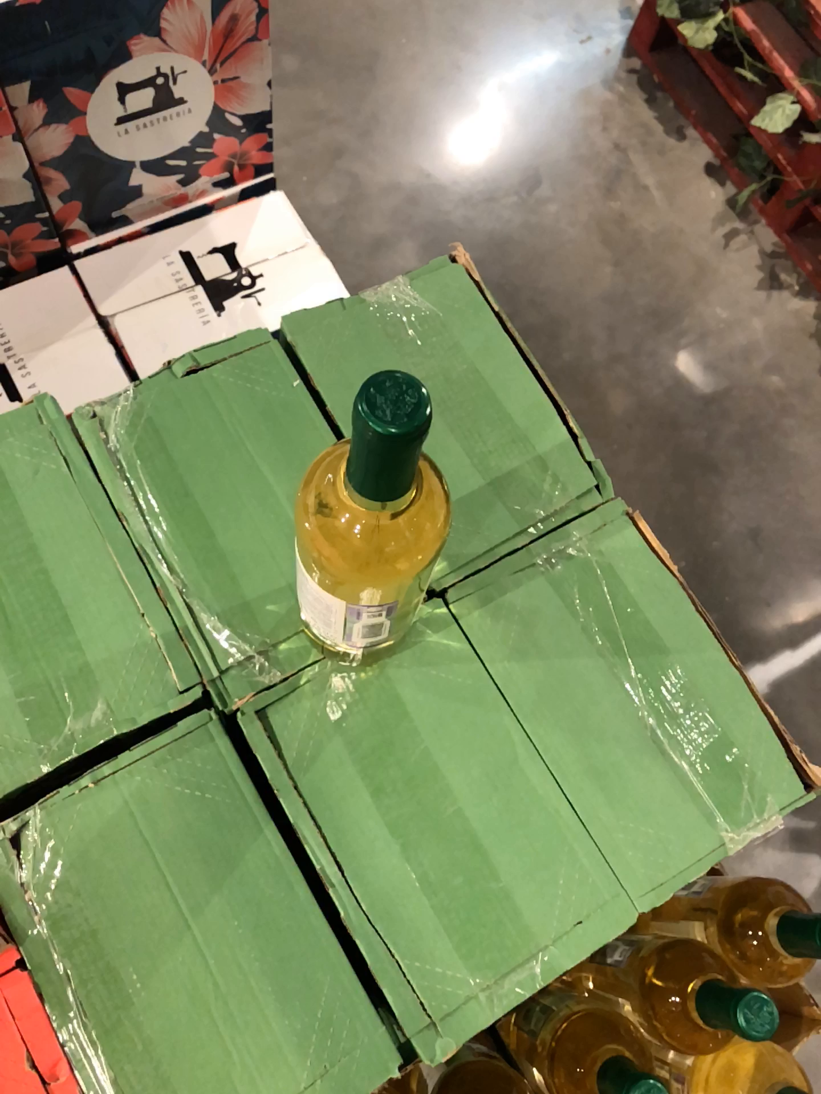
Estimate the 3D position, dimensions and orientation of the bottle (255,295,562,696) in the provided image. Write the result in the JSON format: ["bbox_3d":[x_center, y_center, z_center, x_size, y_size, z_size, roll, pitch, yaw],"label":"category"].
[{"bbox_3d":[-0.016,-0.003,0.455,0.084,0.263,0.080,2,71,-6],"label":"bottle"}]
